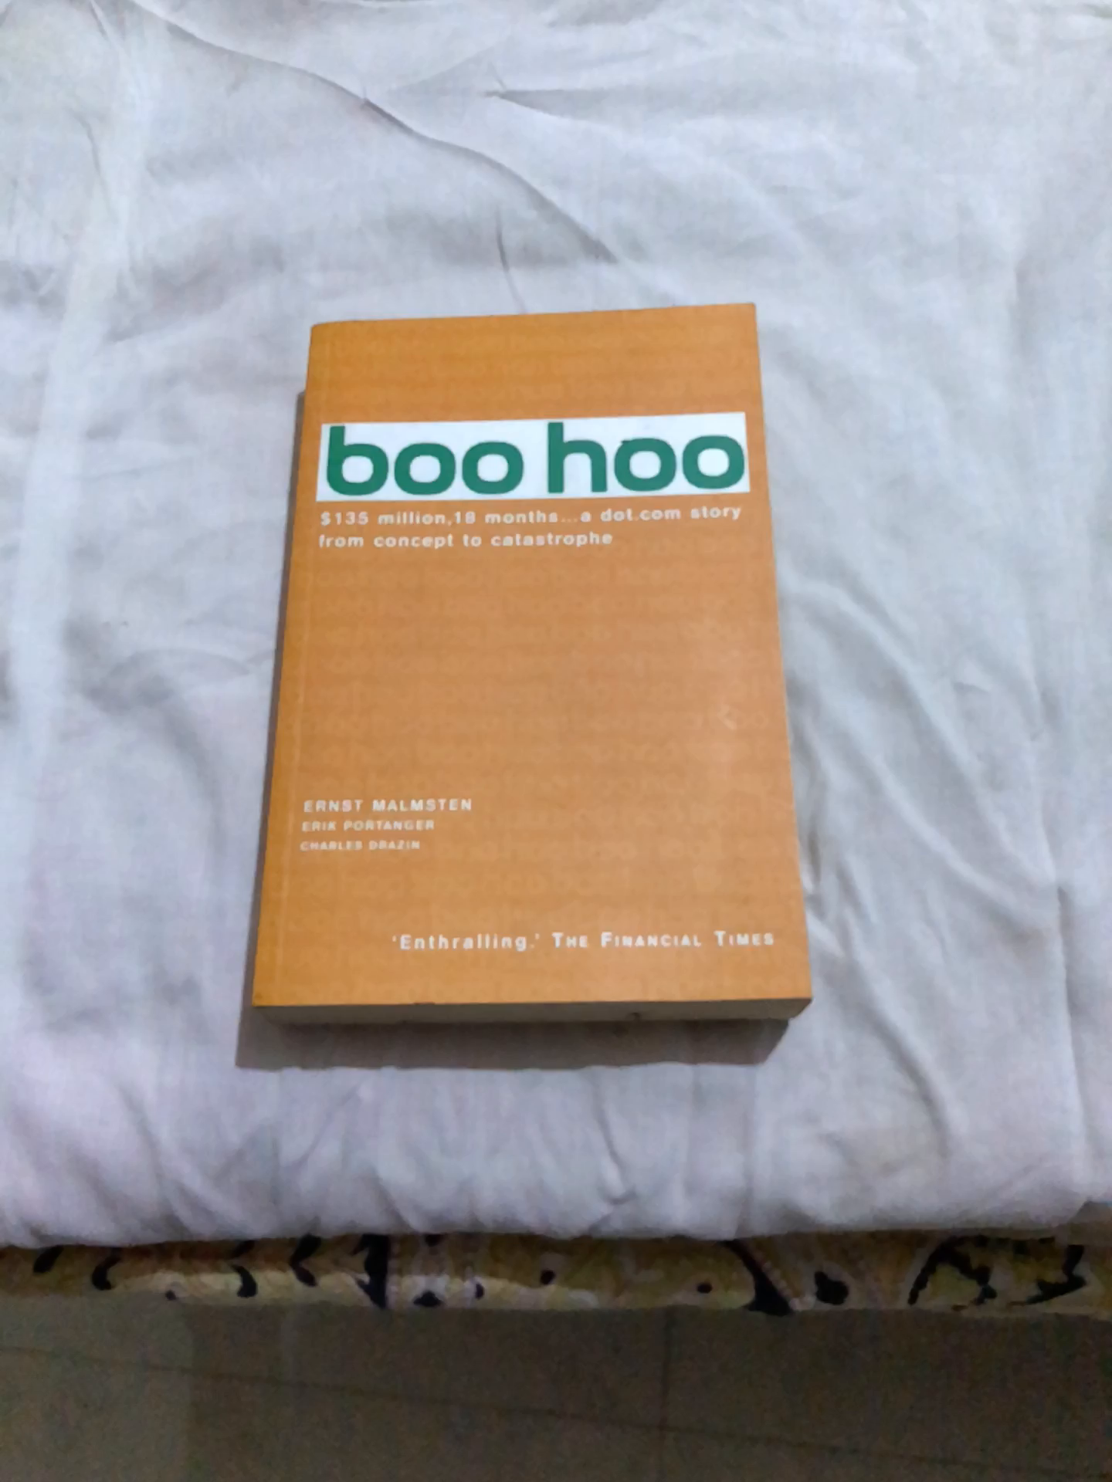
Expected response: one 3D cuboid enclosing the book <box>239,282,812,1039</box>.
[{"bbox_3d":[-0.007,-0.026,0.336,0.130,0.040,0.200,-2,69,4],"label":"book"}]
